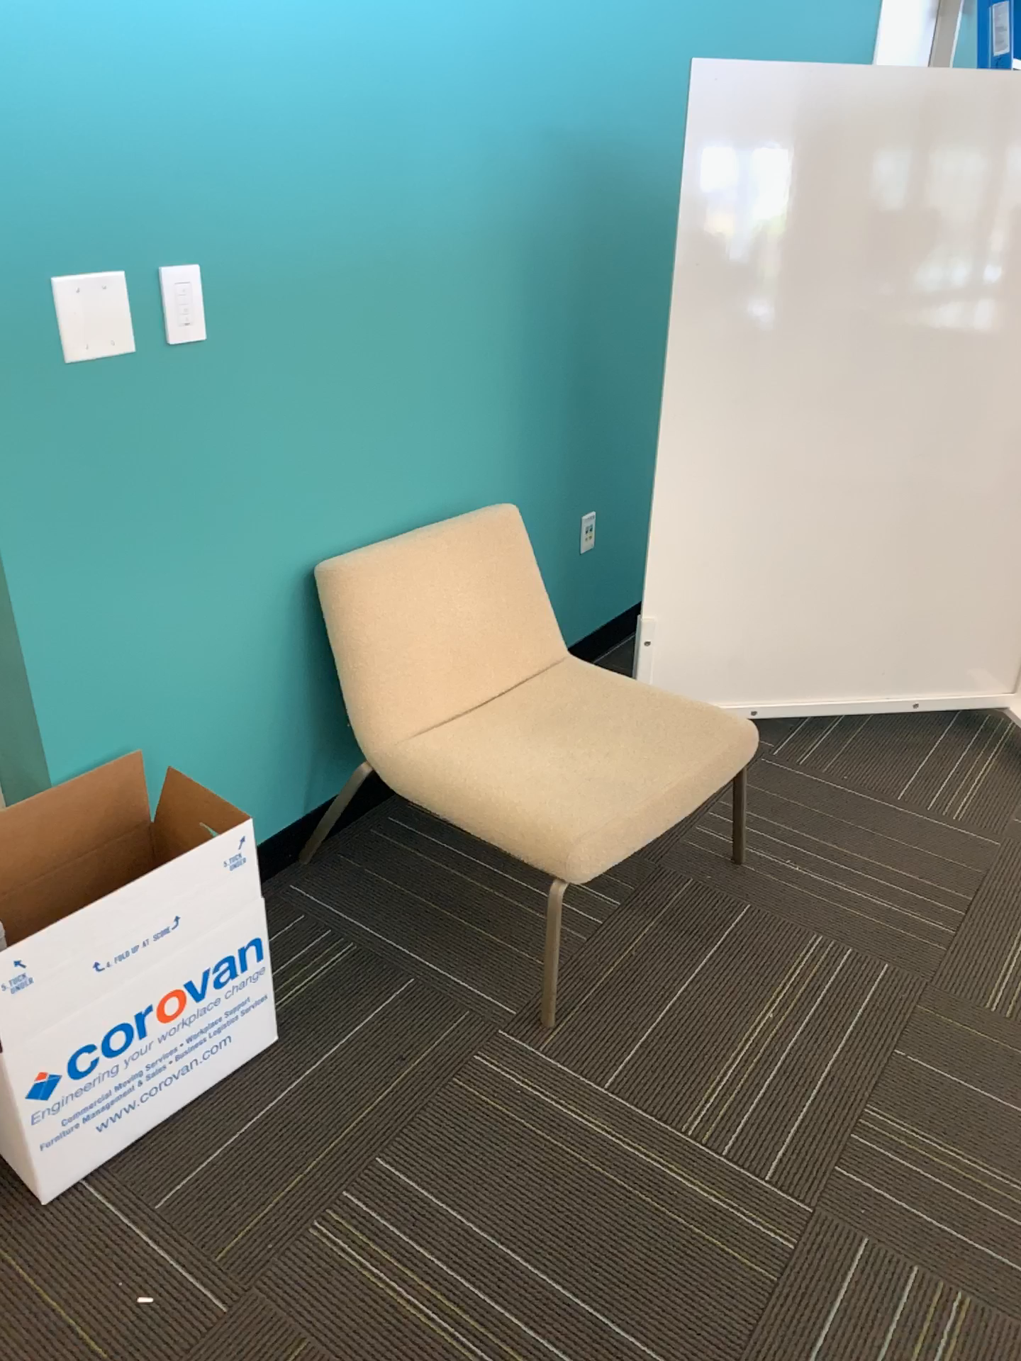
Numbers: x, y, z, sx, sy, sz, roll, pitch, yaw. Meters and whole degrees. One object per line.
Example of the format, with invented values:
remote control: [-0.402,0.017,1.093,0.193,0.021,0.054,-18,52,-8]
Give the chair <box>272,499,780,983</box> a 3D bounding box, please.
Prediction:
chair: [0.028,0.053,2.137,0.732,0.567,0.662,22,34,35]
